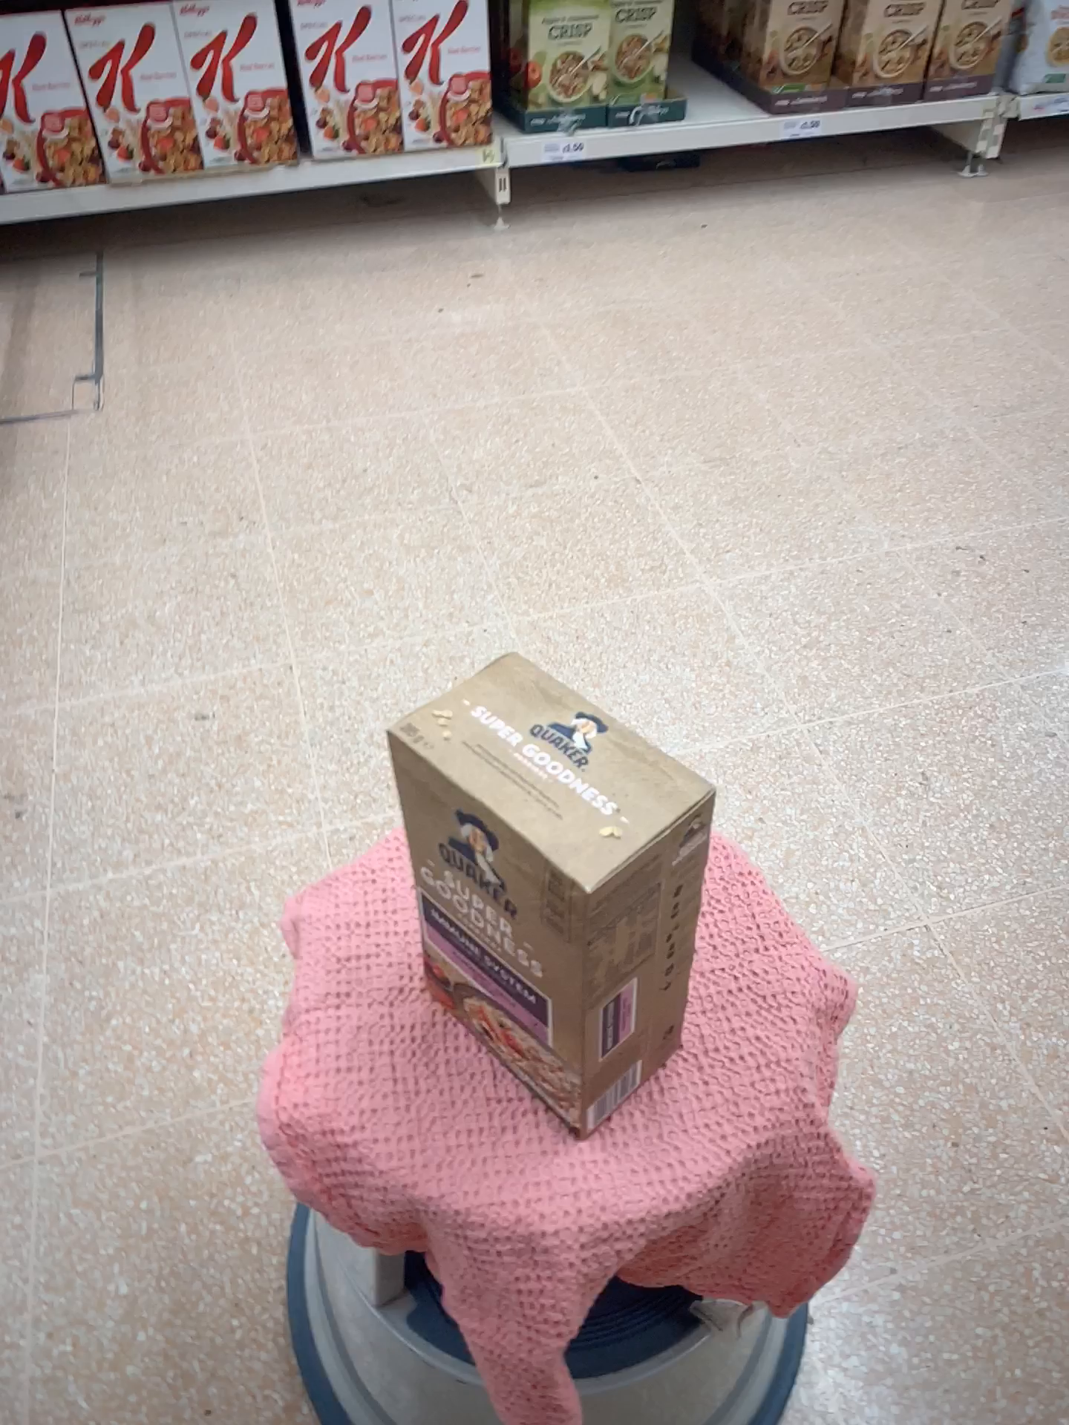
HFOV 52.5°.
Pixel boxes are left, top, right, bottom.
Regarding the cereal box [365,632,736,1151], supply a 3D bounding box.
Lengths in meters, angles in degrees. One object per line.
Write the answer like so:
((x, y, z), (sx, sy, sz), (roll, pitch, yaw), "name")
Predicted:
((0.007, 0.091, 0.529), (0.090, 0.208, 0.131), (-35, 53, -30), "cereal box")
